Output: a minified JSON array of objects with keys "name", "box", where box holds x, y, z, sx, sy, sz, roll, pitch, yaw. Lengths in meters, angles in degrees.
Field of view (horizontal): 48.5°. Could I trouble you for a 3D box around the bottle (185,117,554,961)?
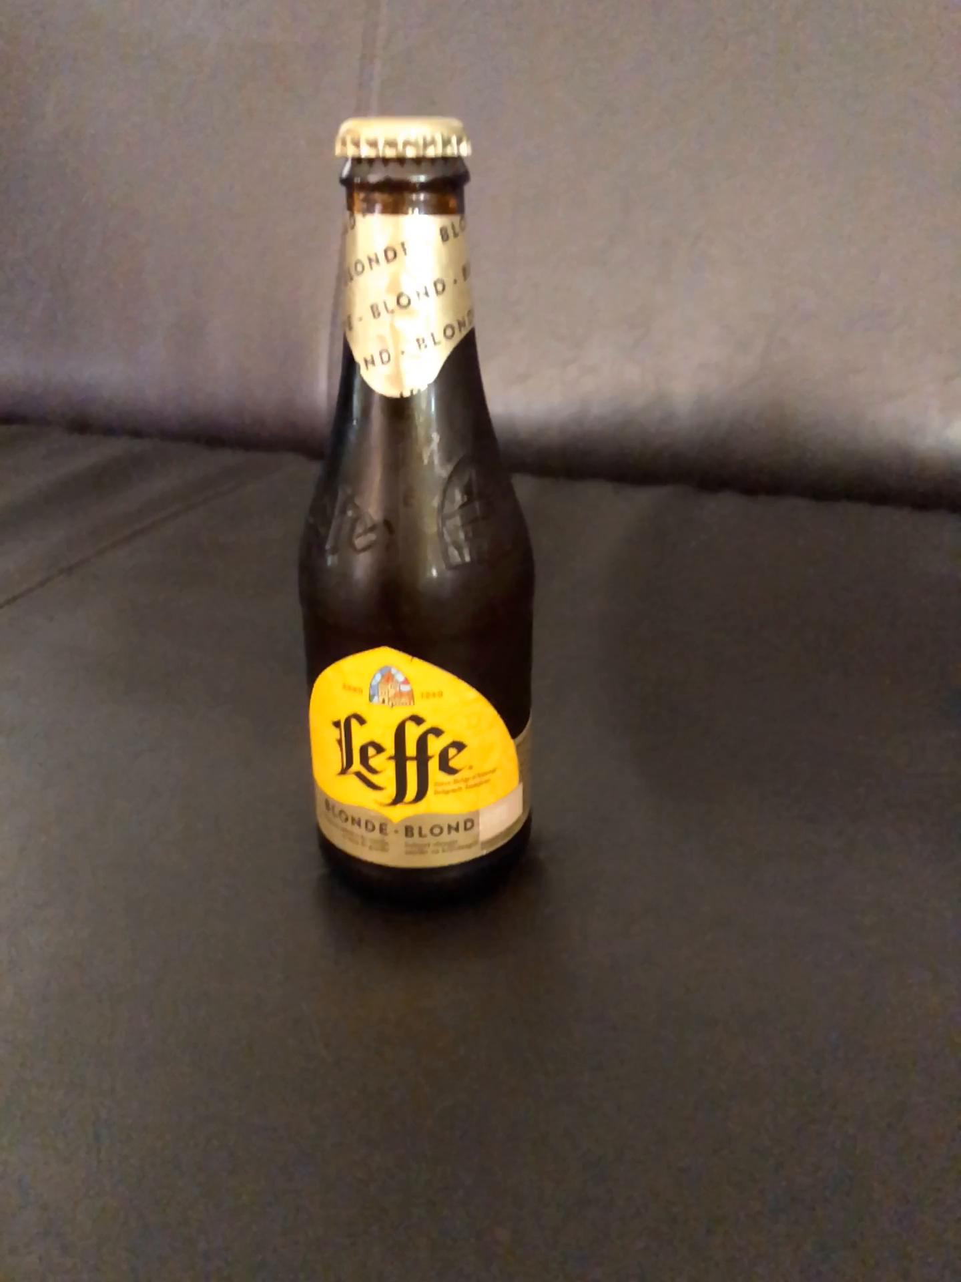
[{"name":"bottle","box":[-0.016,-0.019,0.256,0.060,0.189,0.060,-2,26,1]}]
